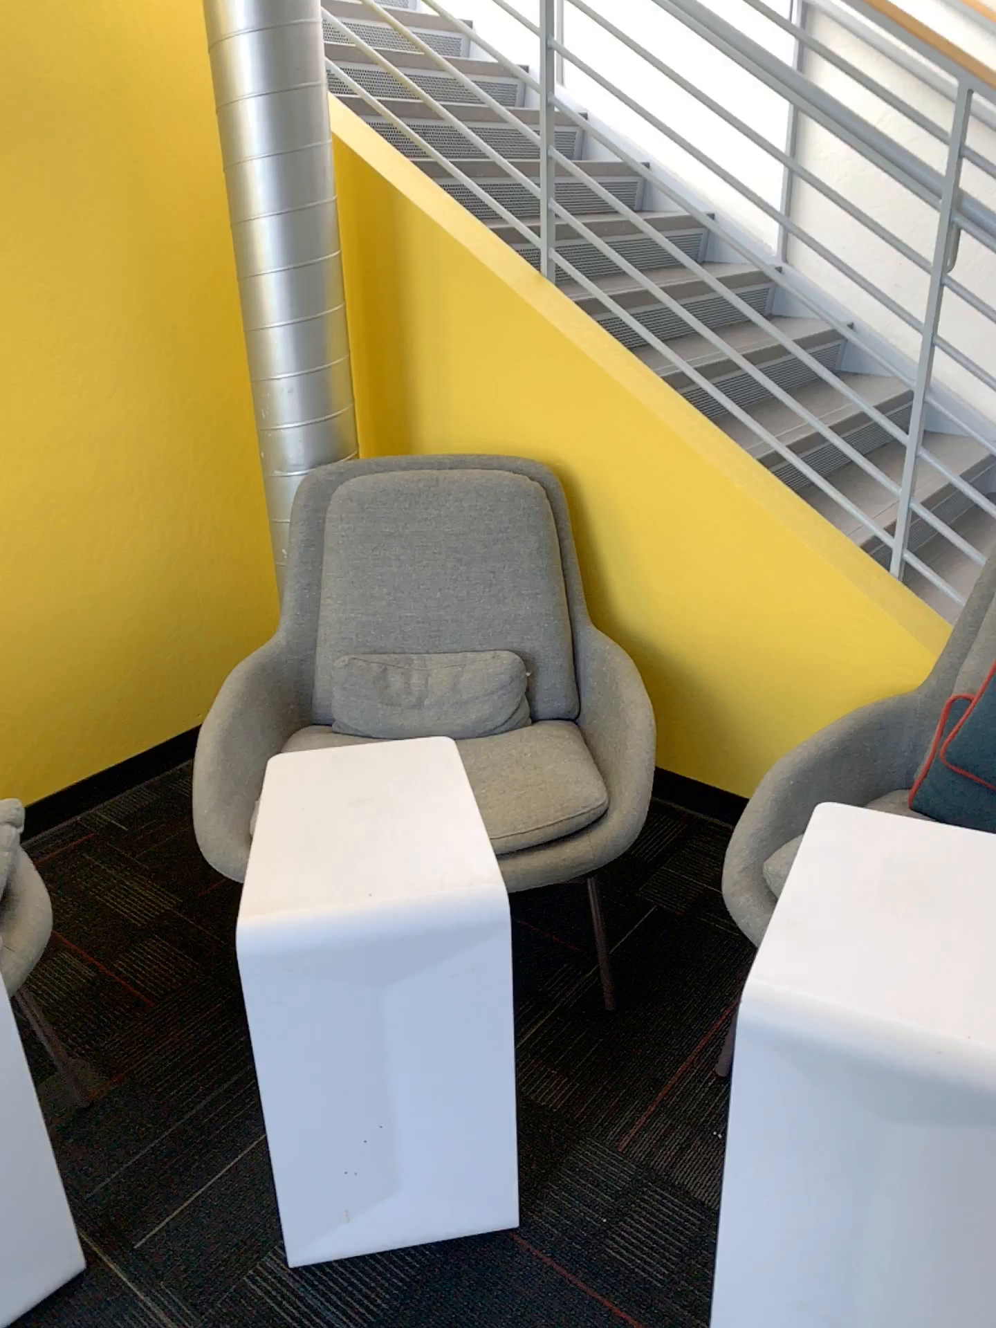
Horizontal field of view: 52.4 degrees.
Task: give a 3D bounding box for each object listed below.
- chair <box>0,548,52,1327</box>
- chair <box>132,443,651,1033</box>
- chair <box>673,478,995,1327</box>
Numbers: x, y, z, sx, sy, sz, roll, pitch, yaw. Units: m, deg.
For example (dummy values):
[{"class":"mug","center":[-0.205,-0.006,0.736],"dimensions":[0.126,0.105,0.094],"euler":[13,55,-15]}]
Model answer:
[{"class":"chair","center":[-1.340,0.437,1.383],"dimensions":[0.872,0.925,0.803],"euler":[9,26,29]},{"class":"chair","center":[-0.178,0.103,2.308],"dimensions":[0.890,1.015,0.844],"euler":[-4,21,-2]},{"class":"chair","center":[0.954,0.275,1.737],"dimensions":[0.881,0.945,0.873],"euler":[-17,27,-37]}]
